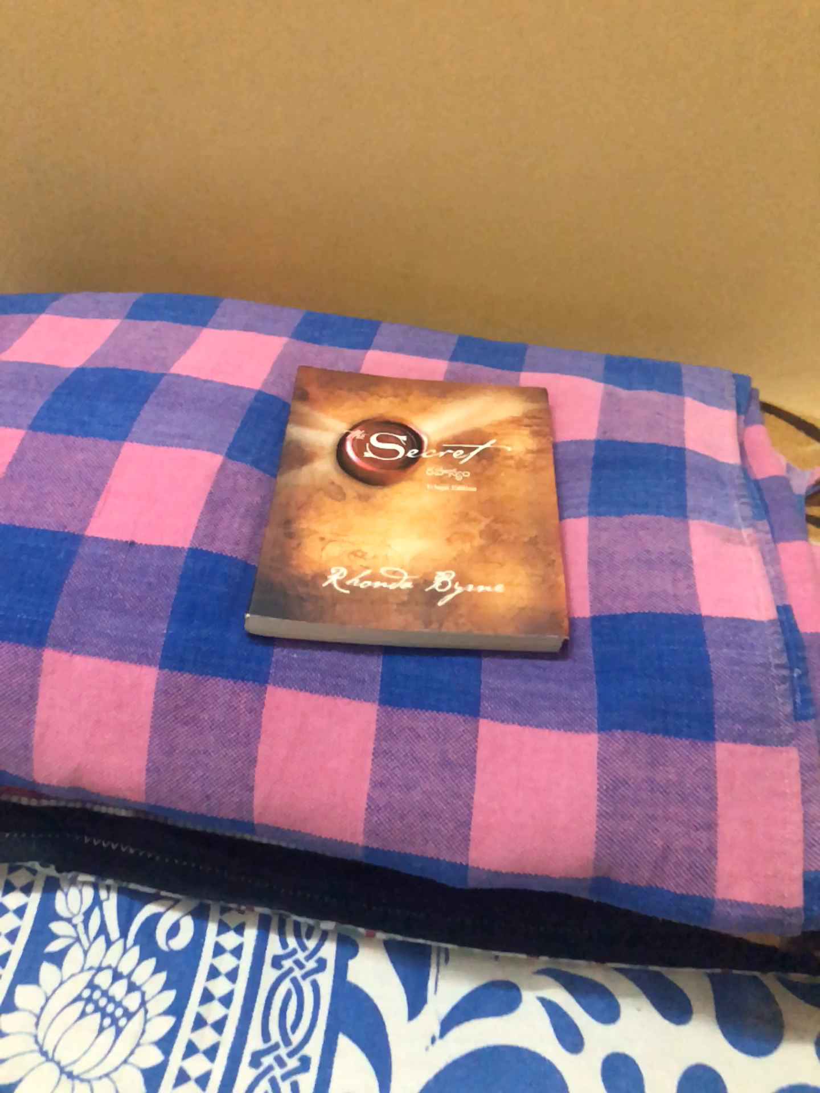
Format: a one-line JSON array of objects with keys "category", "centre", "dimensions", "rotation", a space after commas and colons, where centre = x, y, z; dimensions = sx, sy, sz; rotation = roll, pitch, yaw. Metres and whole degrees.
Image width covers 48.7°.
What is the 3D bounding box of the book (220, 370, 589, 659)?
[{"category": "book", "centre": [0.001, -0.026, 0.447], "dimensions": [0.150, 0.020, 0.191], "rotation": [3, 41, 0]}]
